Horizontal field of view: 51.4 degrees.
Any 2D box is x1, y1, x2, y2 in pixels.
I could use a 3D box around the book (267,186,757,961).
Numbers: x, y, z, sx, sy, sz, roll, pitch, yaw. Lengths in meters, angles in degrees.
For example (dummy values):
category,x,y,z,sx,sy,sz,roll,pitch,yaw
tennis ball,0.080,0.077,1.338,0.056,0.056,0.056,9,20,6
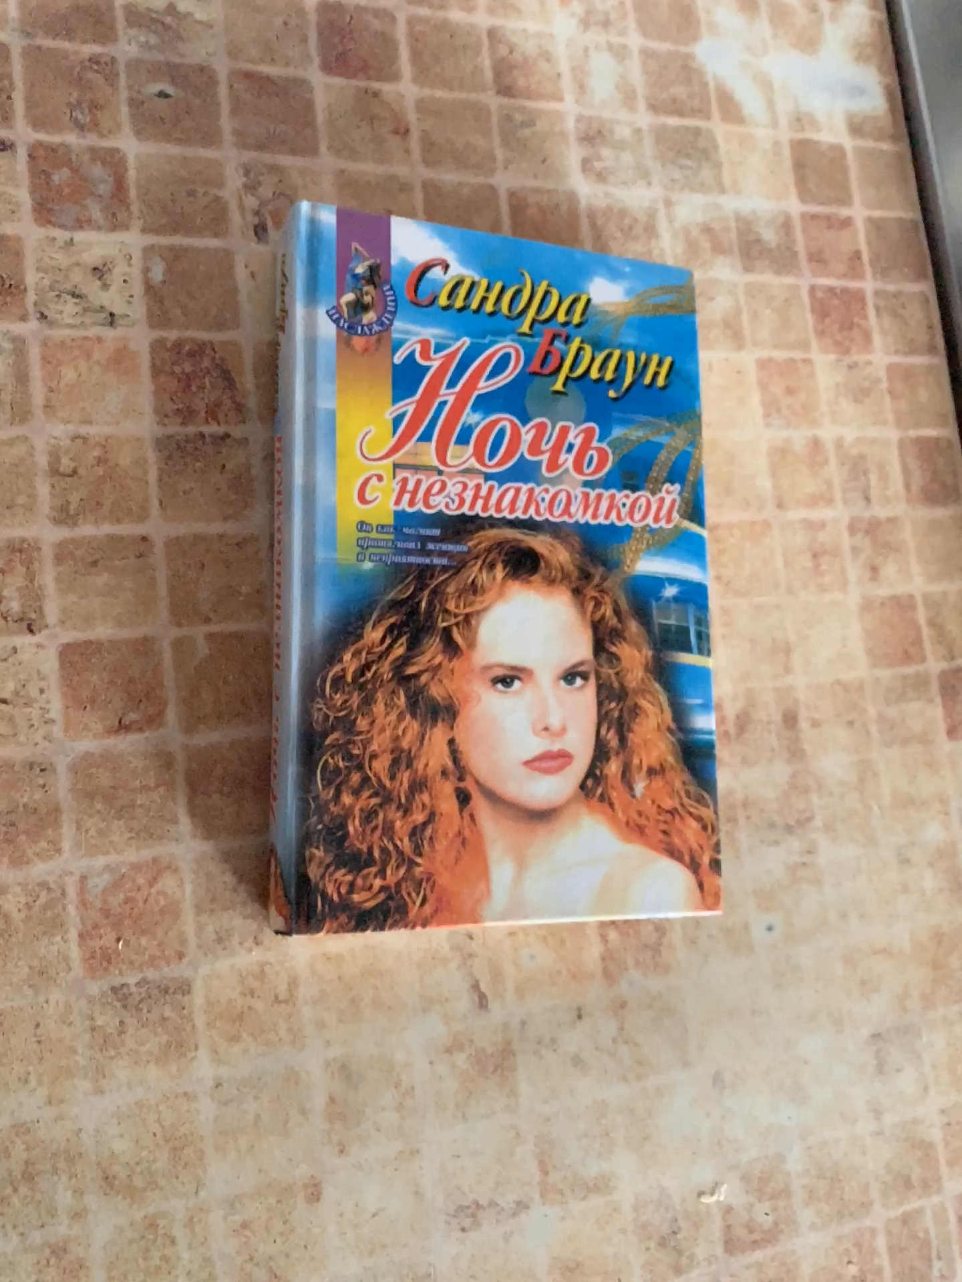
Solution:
category,x,y,z,sx,sy,sz,roll,pitch,yaw
book,0.009,-0.018,0.284,0.130,0.029,0.198,2,81,-19
